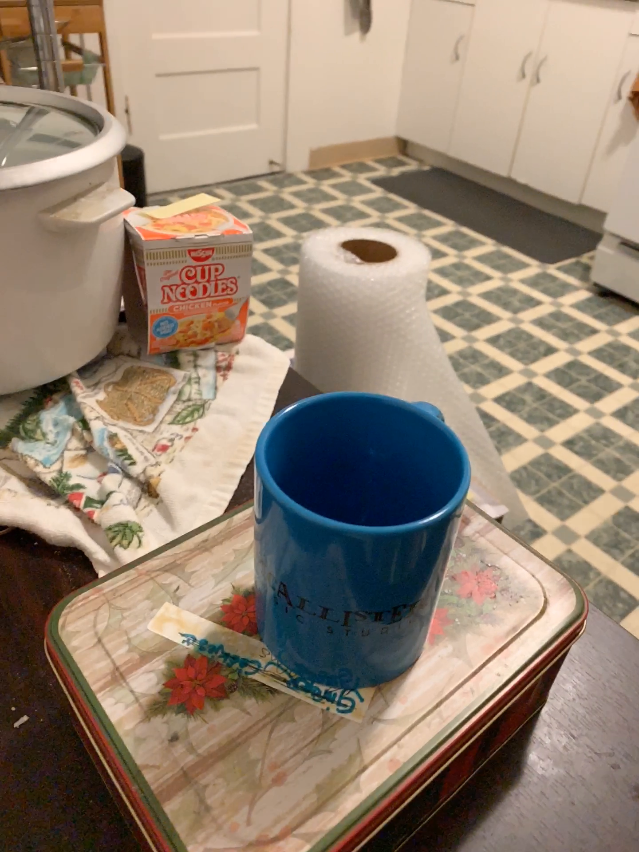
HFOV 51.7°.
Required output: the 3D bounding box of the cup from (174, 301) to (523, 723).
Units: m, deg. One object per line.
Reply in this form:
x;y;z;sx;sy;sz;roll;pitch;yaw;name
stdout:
0.017;0.027;0.288;0.090;0.099;0.131;20;40;19;cup
